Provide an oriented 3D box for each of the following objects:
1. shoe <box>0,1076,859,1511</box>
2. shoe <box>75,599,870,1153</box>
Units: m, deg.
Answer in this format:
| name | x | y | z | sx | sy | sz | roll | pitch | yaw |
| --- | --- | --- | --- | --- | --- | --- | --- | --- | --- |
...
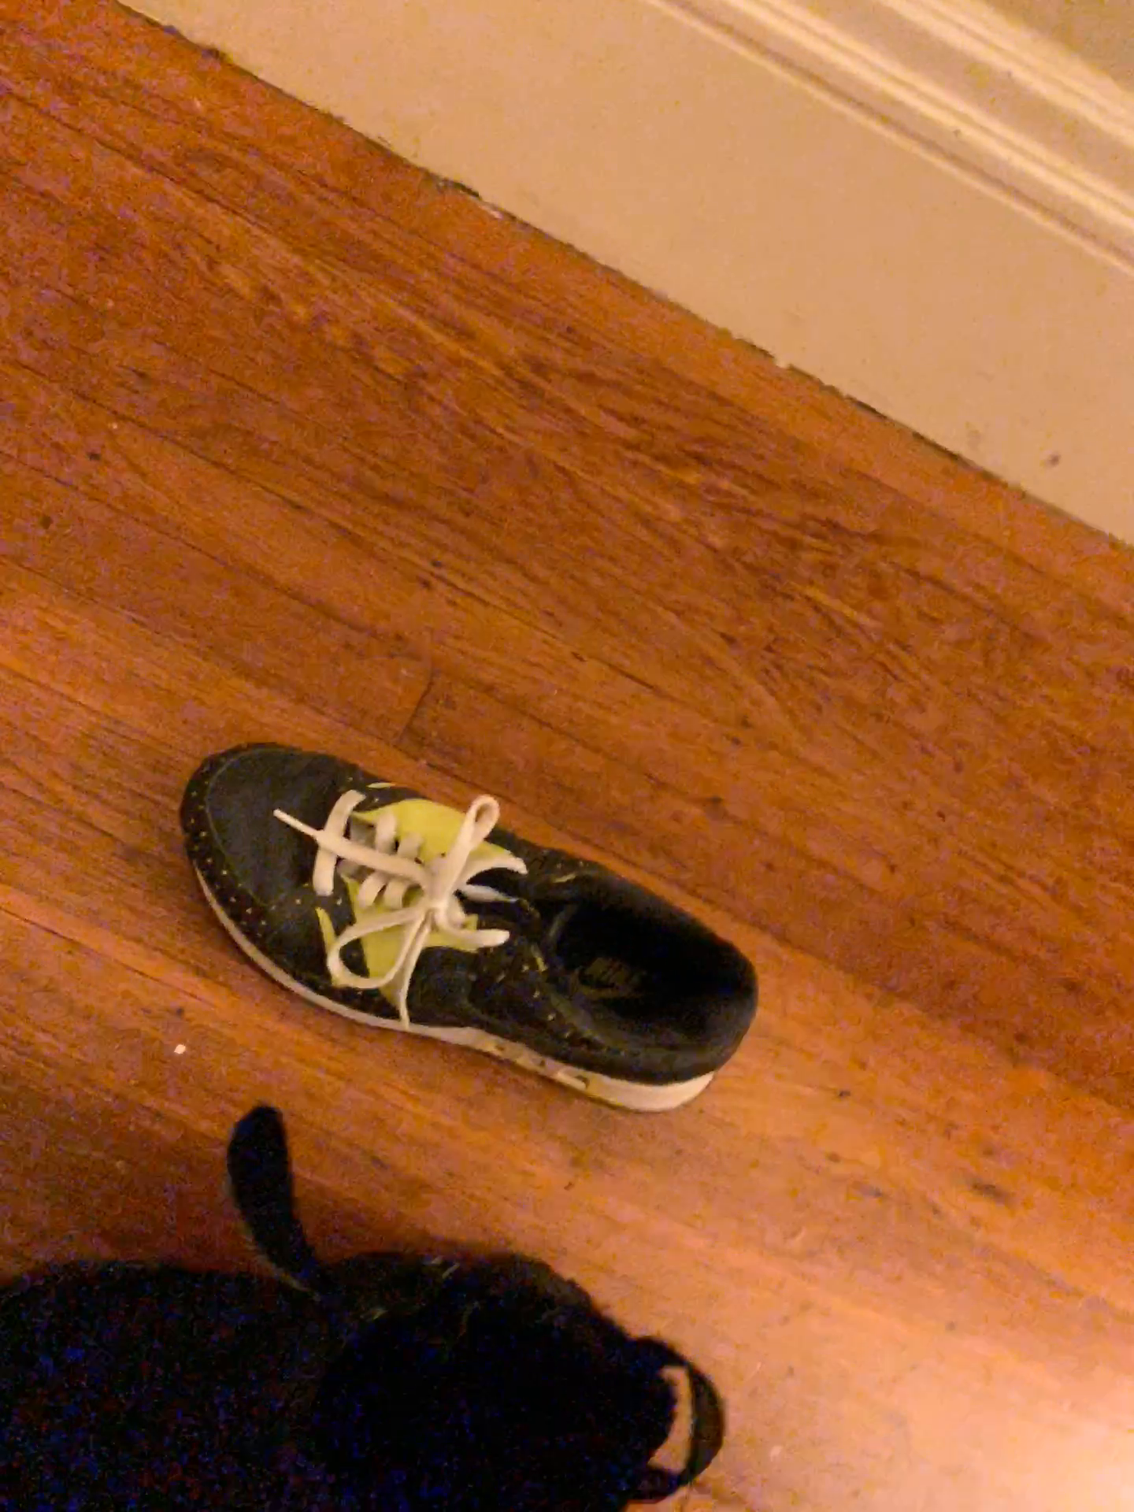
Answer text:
| name | x | y | z | sx | sy | sz | roll | pitch | yaw |
| --- | --- | --- | --- | --- | --- | --- | --- | --- | --- |
| shoe | -0.105 | 0.207 | 0.409 | 0.310 | 0.240 | 0.160 | 3 | 70 | -15 |
| shoe | -0.035 | 0.061 | 0.498 | 0.290 | 0.100 | 0.120 | 22 | 66 | -7 |
